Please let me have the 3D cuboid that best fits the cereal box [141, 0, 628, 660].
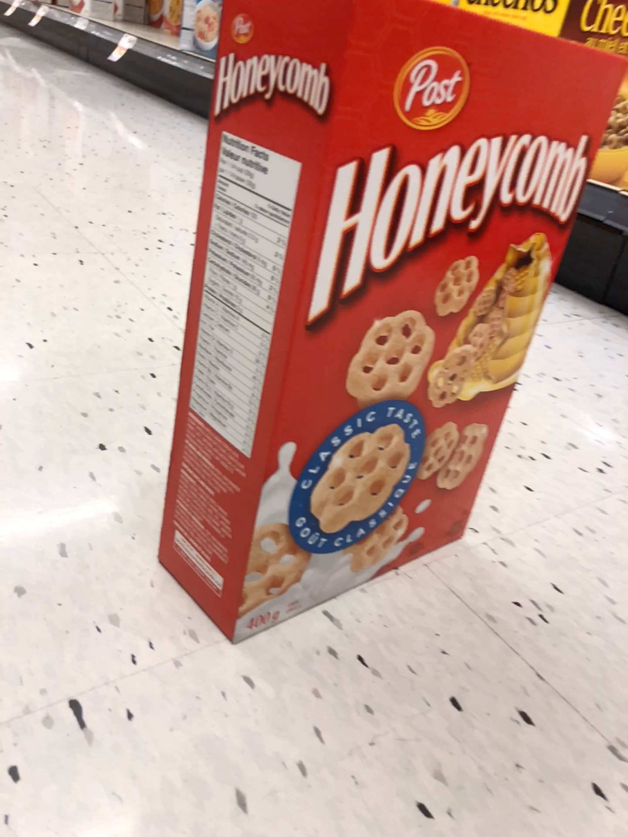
[{"bbox_3d":[0.037,-0.050,0.366,0.211,0.298,0.090,-14,38,-39],"label":"cereal box"}]
